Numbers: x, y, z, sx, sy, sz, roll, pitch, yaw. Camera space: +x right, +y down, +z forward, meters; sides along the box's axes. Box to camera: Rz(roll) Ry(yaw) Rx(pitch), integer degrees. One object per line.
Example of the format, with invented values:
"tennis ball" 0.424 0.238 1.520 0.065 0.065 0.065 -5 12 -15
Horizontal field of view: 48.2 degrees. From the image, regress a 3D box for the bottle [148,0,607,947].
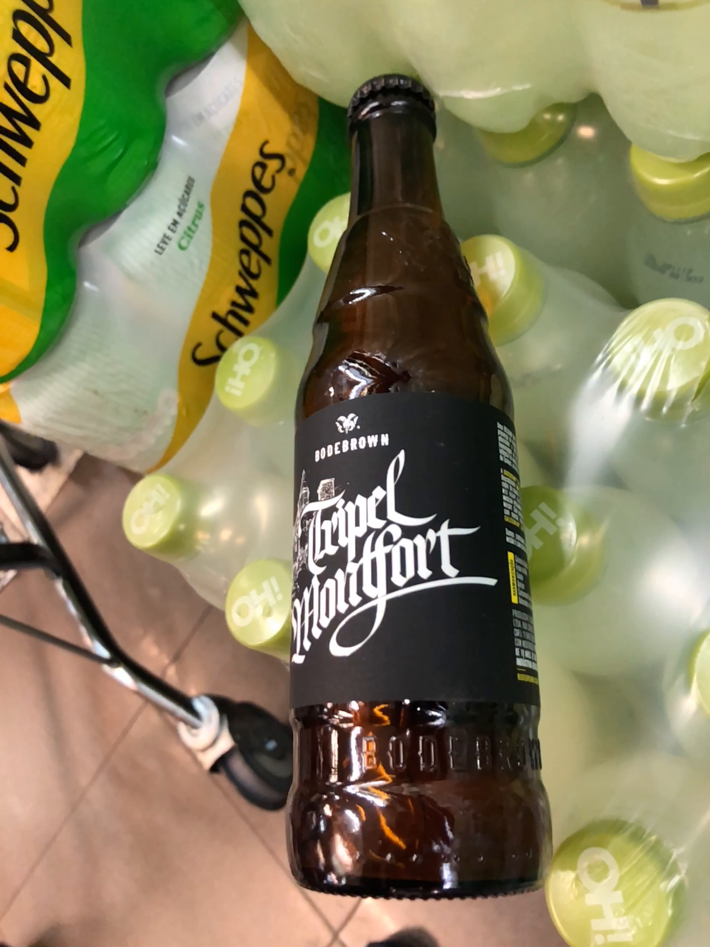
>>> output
"bottle" 0.007 -0.026 0.205 0.070 0.070 0.250 -11 68 27
